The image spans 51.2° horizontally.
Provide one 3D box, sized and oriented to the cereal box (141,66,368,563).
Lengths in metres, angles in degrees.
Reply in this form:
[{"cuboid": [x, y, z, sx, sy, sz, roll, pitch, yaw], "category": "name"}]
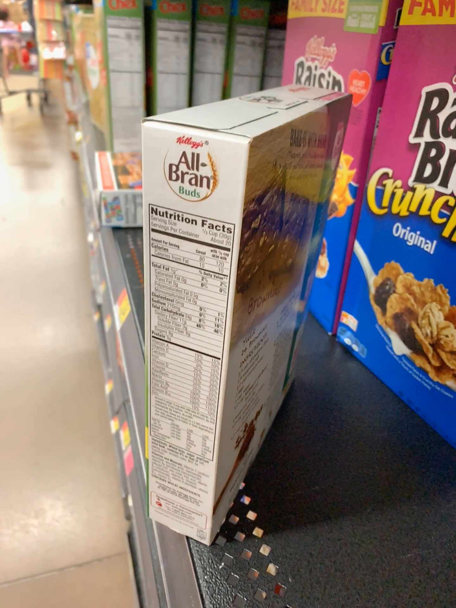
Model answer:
[{"cuboid": [0.018, -0.001, 0.307, 0.050, 0.259, 0.191, 17, 33, 17], "category": "cereal box"}]
